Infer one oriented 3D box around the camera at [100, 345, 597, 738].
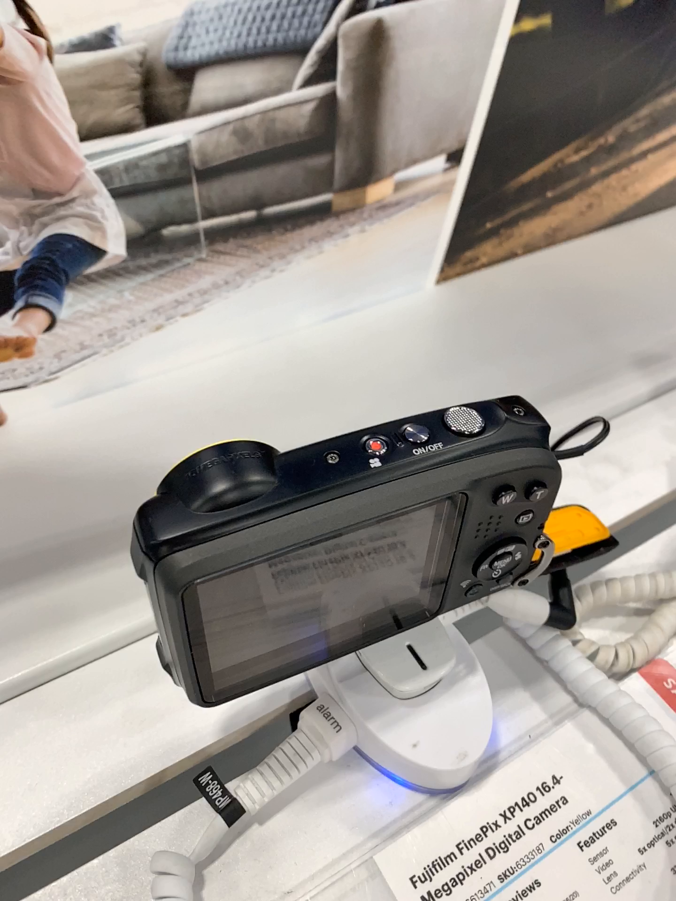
[{"bbox_3d":[0.003,0.020,0.184,0.110,0.060,0.040,-17,48,-24],"label":"camera"}]
